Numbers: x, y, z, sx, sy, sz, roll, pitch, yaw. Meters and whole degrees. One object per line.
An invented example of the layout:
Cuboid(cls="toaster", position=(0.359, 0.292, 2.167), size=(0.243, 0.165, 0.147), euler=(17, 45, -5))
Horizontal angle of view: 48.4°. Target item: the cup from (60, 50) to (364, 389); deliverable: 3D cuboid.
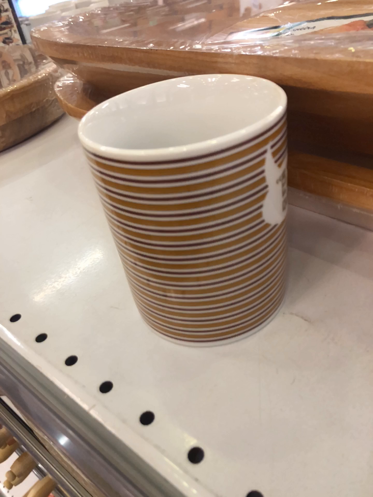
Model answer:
Cuboid(cls="cup", position=(0.002, -0.025, 0.194), size=(0.090, 0.089, 0.121), euler=(-16, 37, -7))
